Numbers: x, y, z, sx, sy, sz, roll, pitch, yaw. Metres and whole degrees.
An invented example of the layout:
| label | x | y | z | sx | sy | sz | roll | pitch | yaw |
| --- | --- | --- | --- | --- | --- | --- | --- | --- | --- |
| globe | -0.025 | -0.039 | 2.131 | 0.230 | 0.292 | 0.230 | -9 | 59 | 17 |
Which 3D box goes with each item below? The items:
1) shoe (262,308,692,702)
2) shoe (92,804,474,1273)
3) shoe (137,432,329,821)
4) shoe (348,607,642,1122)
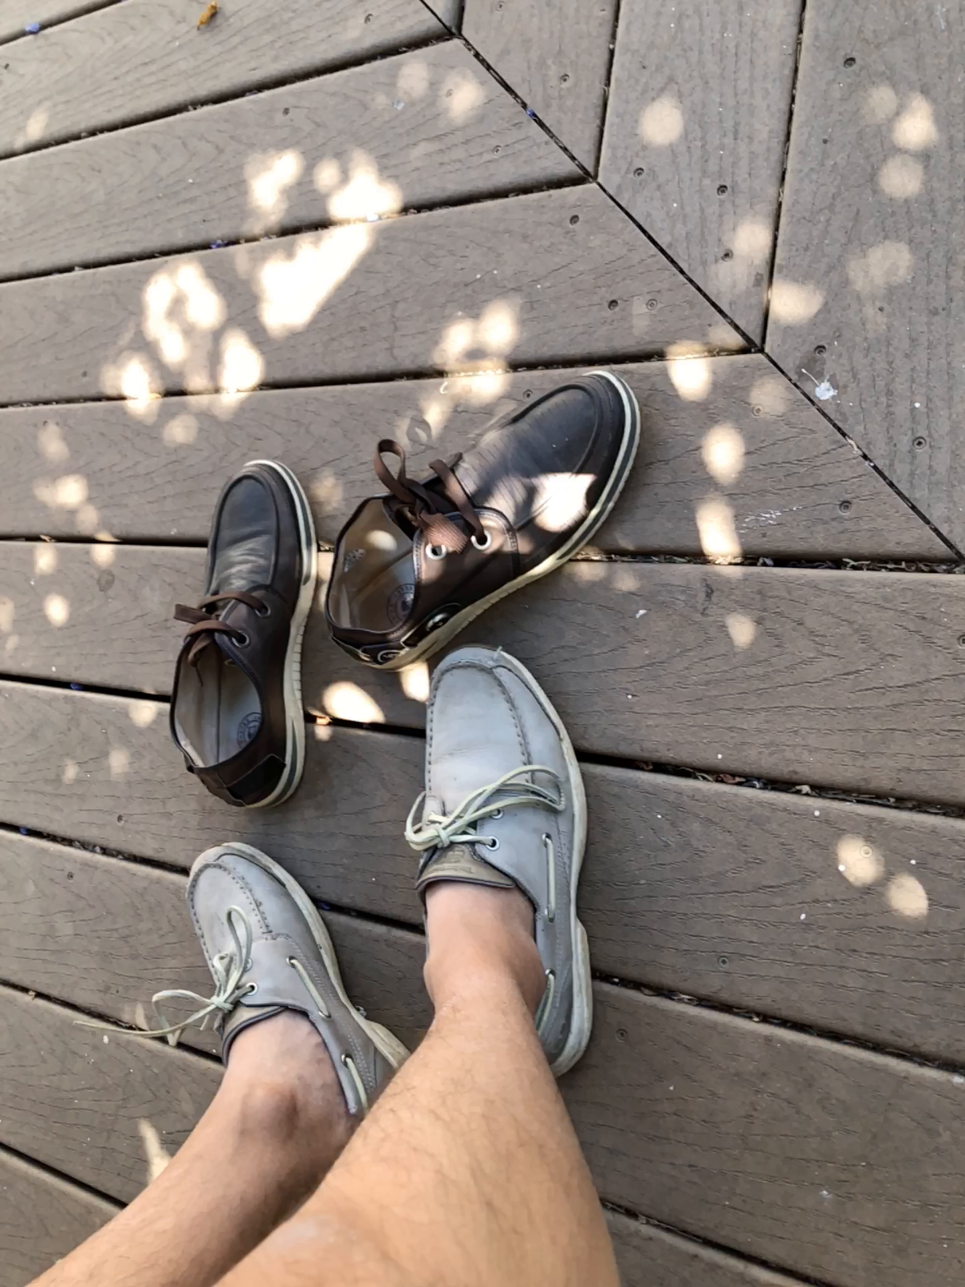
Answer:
| label | x | y | z | sx | sy | sz | roll | pitch | yaw |
| --- | --- | --- | --- | --- | --- | --- | --- | --- | --- |
| shoe | -0.011 | -0.083 | 0.726 | 0.277 | 0.079 | 0.109 | -37 | 67 | 21 |
| shoe | -0.148 | 0.261 | 0.751 | 0.109 | 0.086 | 0.293 | -48 | 64 | 15 |
| shoe | -0.190 | -0.011 | 0.813 | 0.110 | 0.069 | 0.278 | 0 | 86 | 29 |
| shoe | 0.007 | 0.137 | 0.683 | 0.110 | 0.101 | 0.293 | -15 | 77 | 27 |
